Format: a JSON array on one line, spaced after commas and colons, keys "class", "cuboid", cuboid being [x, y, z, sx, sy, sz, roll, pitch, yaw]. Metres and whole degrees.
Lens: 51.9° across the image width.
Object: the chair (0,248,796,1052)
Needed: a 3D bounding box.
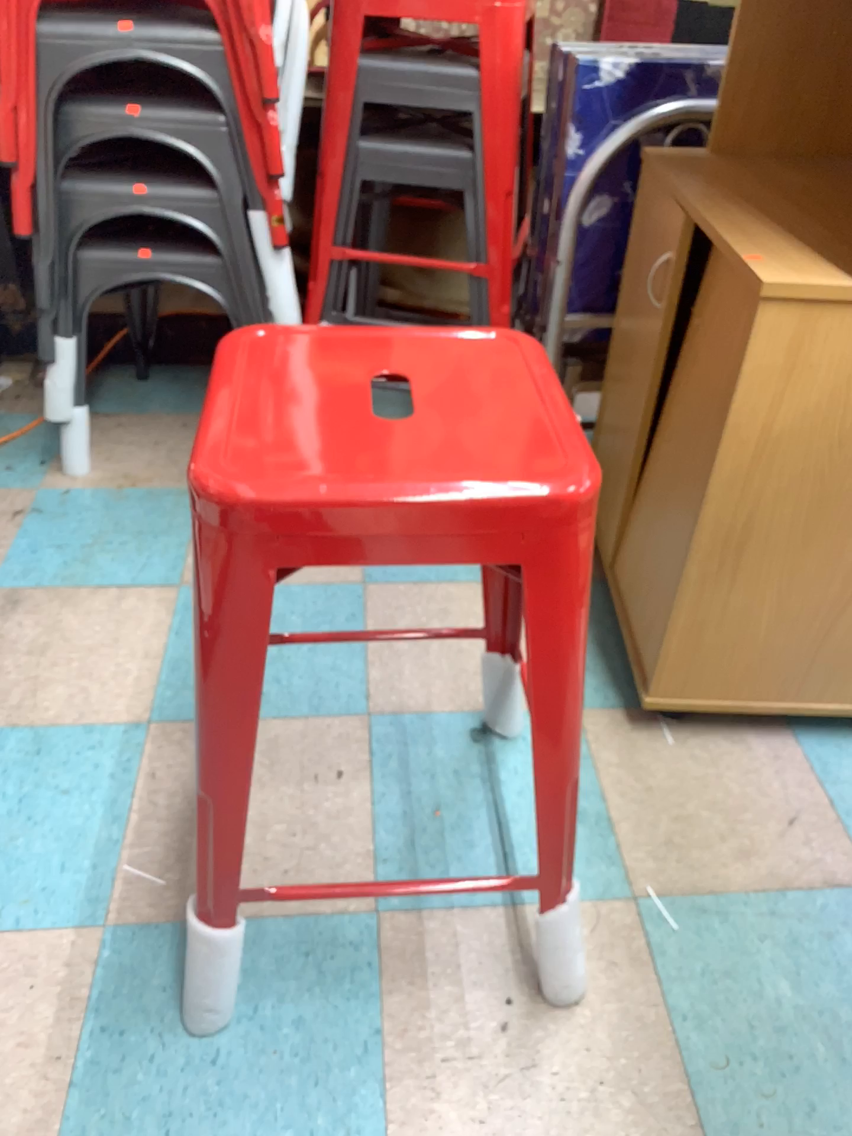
[{"class": "chair", "cuboid": [-0.040, 0.074, 0.825, 0.438, 0.598, 0.436, -1, 37, -5]}]
